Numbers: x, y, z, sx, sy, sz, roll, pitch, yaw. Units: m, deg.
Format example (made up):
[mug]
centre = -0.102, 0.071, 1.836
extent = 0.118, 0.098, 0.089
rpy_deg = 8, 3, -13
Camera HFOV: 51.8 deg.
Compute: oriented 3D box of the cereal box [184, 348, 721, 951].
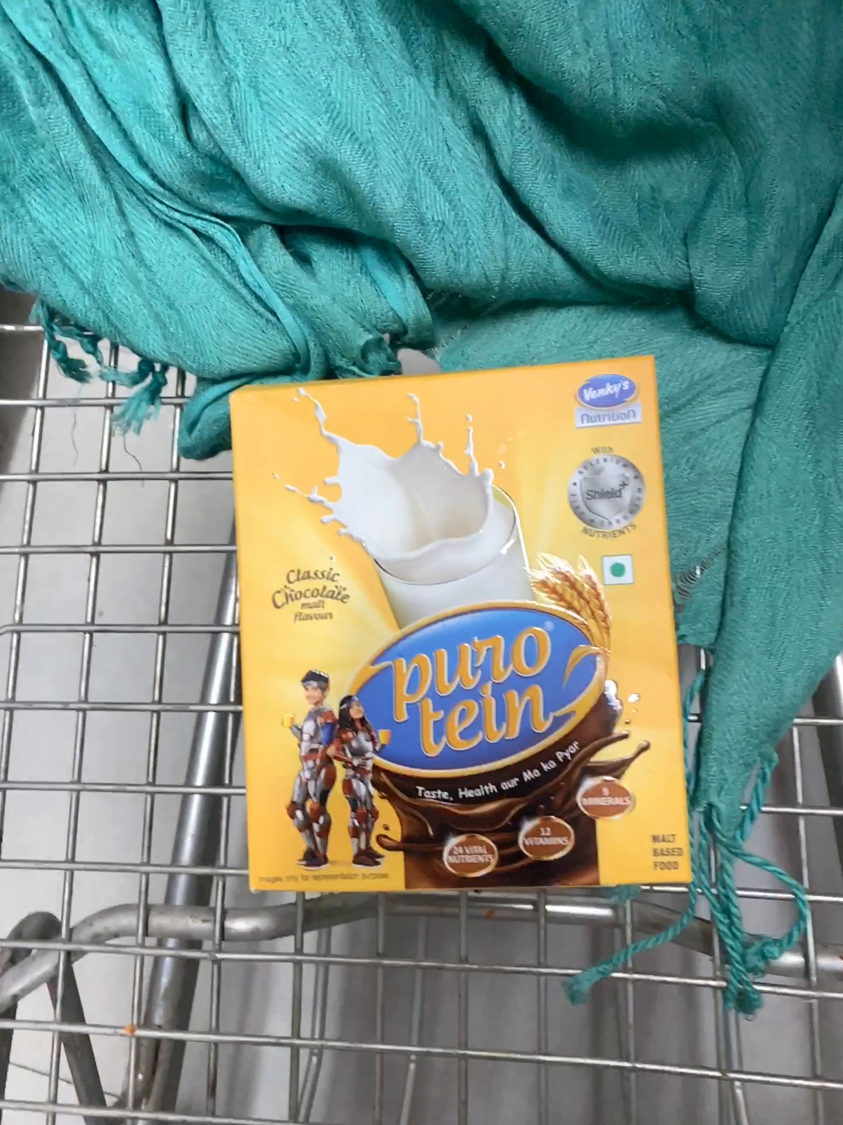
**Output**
[cereal box]
centre = 0.008, 0.026, 0.268
extent = 0.140, 0.050, 0.160
rpy_deg = -4, 88, 4
